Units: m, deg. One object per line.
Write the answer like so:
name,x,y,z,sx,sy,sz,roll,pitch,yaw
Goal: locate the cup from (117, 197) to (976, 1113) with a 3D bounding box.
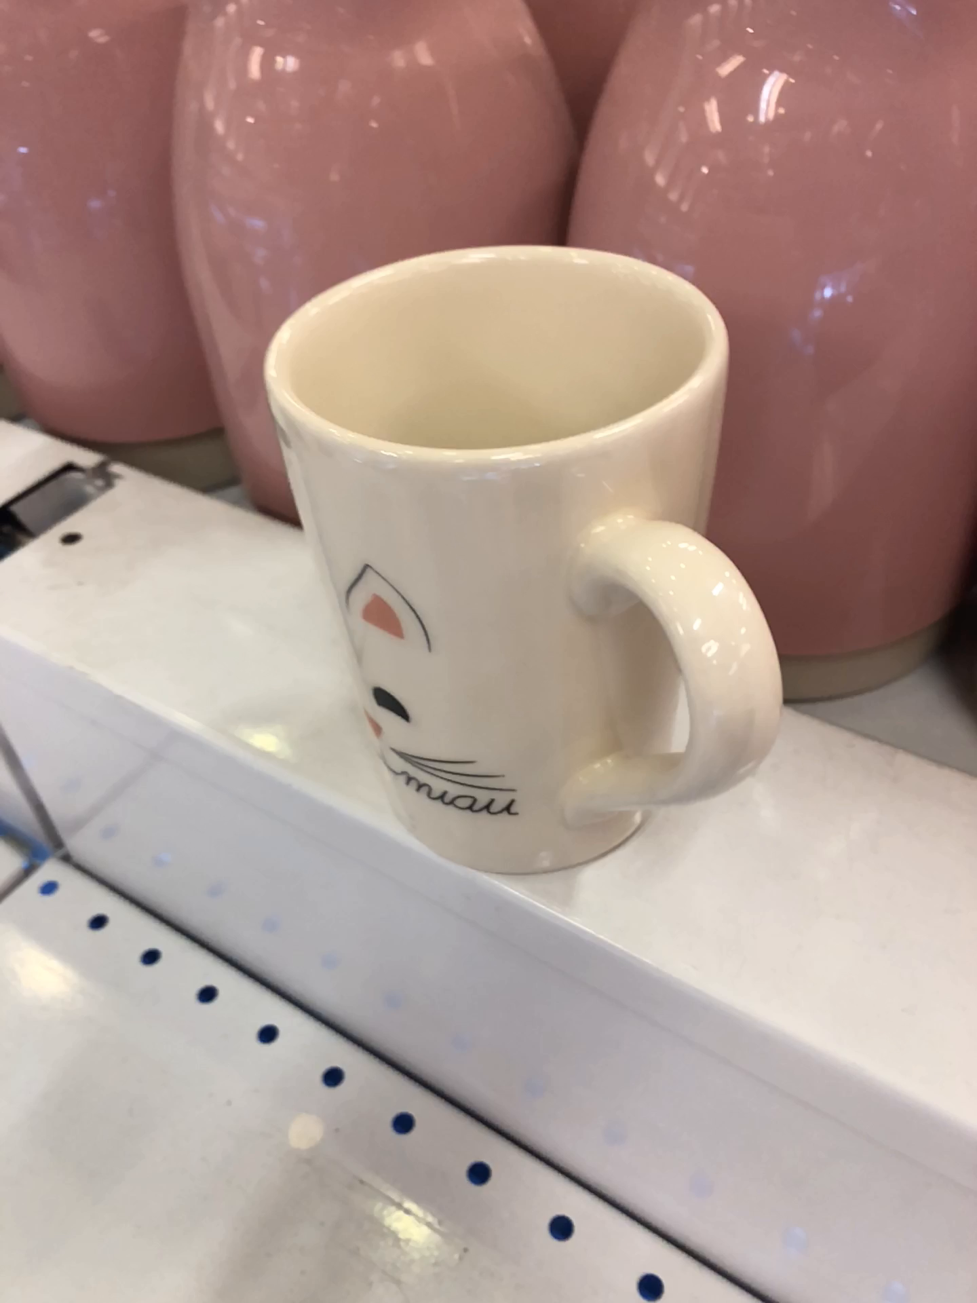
cup,0.008,-0.007,0.198,0.080,0.099,0.111,-31,47,-25
